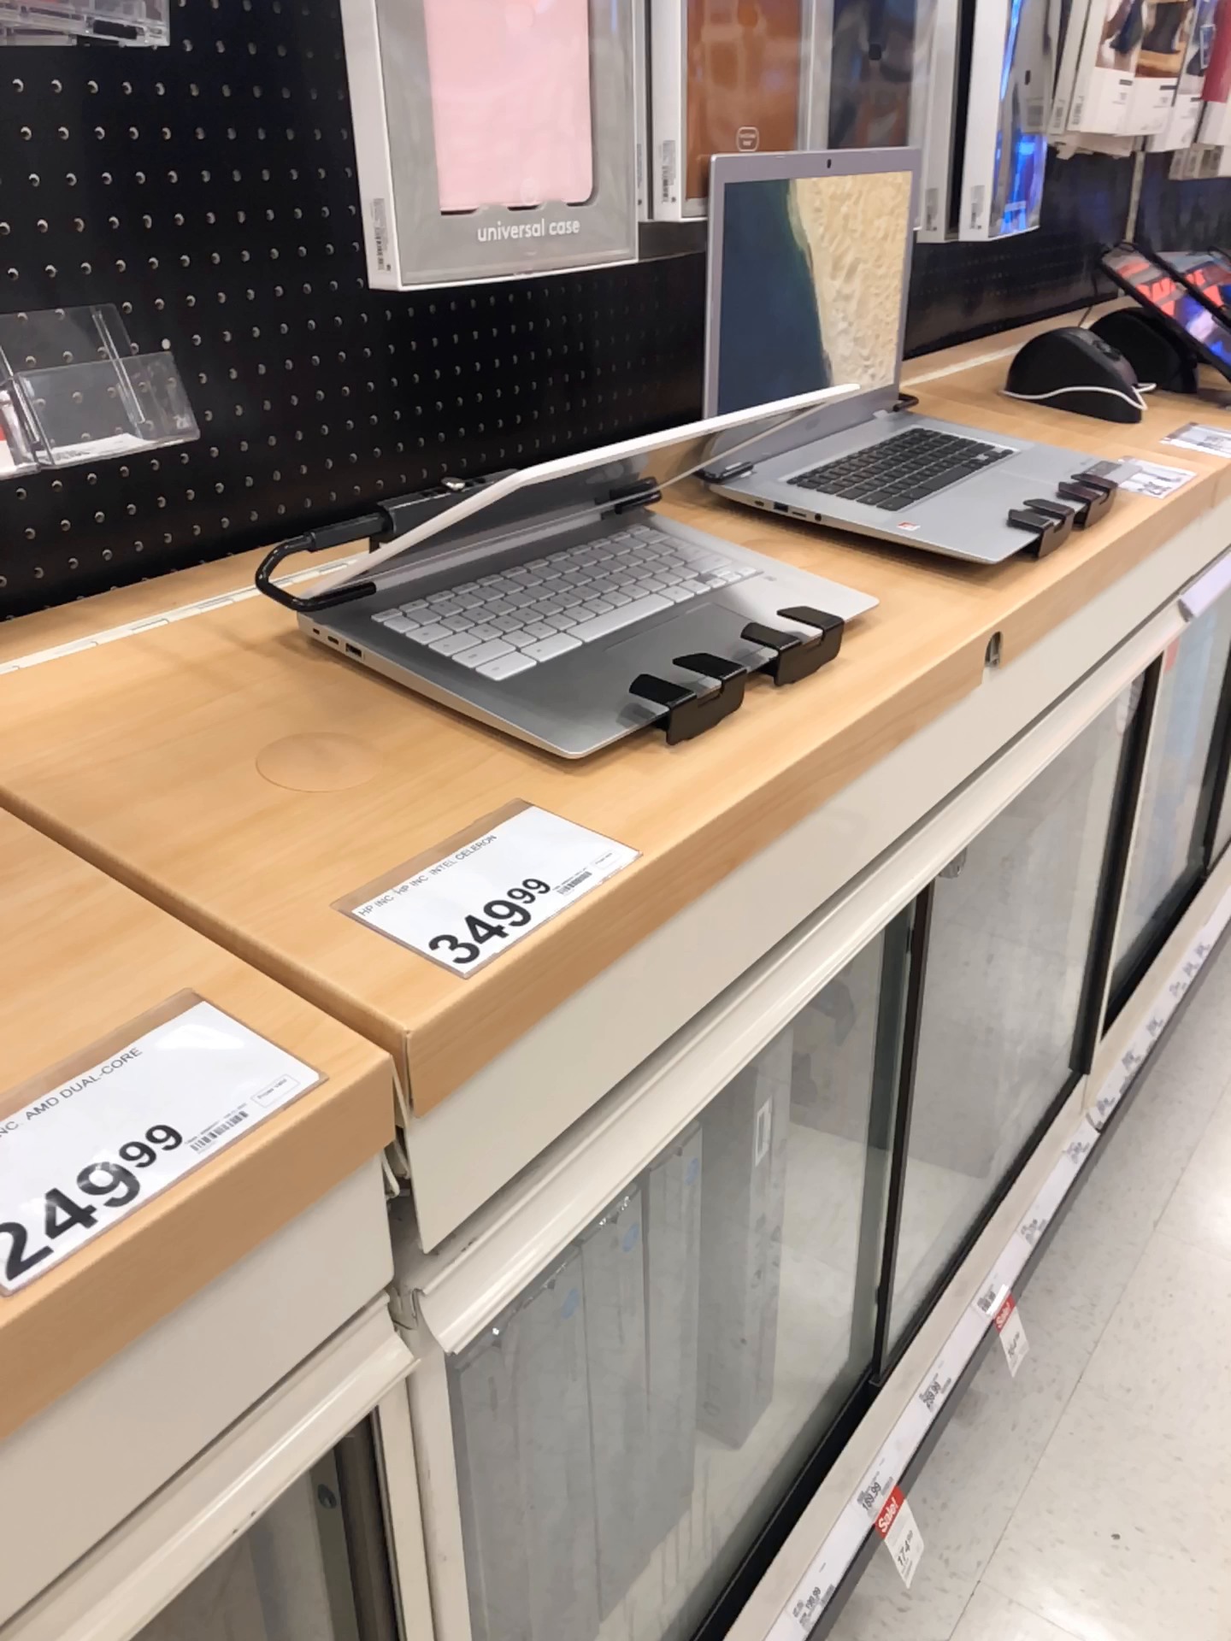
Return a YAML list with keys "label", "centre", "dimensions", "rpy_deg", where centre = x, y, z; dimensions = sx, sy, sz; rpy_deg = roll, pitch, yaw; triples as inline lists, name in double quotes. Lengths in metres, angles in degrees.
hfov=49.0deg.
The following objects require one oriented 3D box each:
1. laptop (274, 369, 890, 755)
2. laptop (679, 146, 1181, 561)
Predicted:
- label: "laptop"
  centre: [-0.004, -0.182, 0.839]
  dimensions: [0.215, 0.100, 0.331]
  rpy_deg: [26, 35, 29]
- label: "laptop"
  centre: [0.274, -0.421, 1.149]
  dimensions: [0.273, 0.244, 0.390]
  rpy_deg: [19, 32, 28]
